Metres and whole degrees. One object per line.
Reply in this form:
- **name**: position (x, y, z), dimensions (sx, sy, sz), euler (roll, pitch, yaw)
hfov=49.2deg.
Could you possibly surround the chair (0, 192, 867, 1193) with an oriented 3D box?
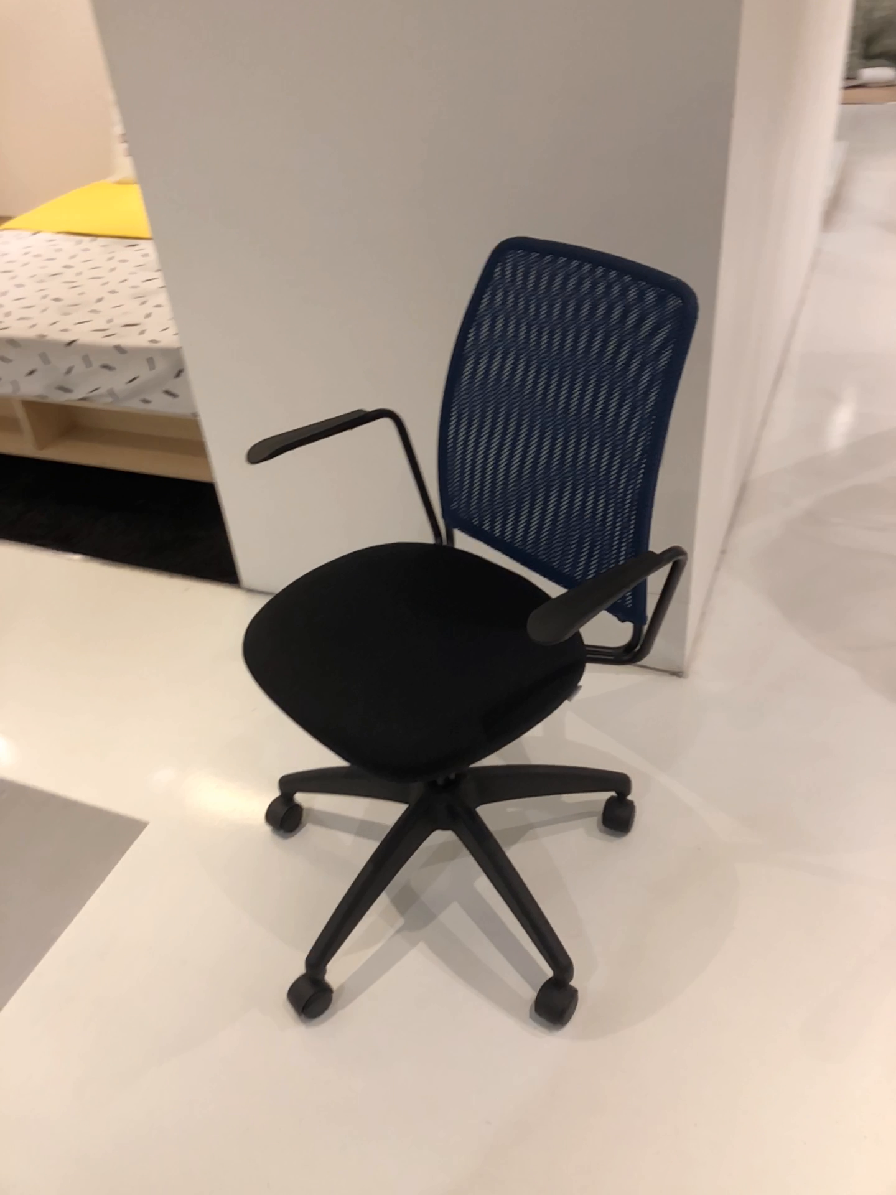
- **chair**: position (-0.018, 0.073, 1.315), dimensions (0.702, 0.923, 0.663), euler (-29, 42, -28)
